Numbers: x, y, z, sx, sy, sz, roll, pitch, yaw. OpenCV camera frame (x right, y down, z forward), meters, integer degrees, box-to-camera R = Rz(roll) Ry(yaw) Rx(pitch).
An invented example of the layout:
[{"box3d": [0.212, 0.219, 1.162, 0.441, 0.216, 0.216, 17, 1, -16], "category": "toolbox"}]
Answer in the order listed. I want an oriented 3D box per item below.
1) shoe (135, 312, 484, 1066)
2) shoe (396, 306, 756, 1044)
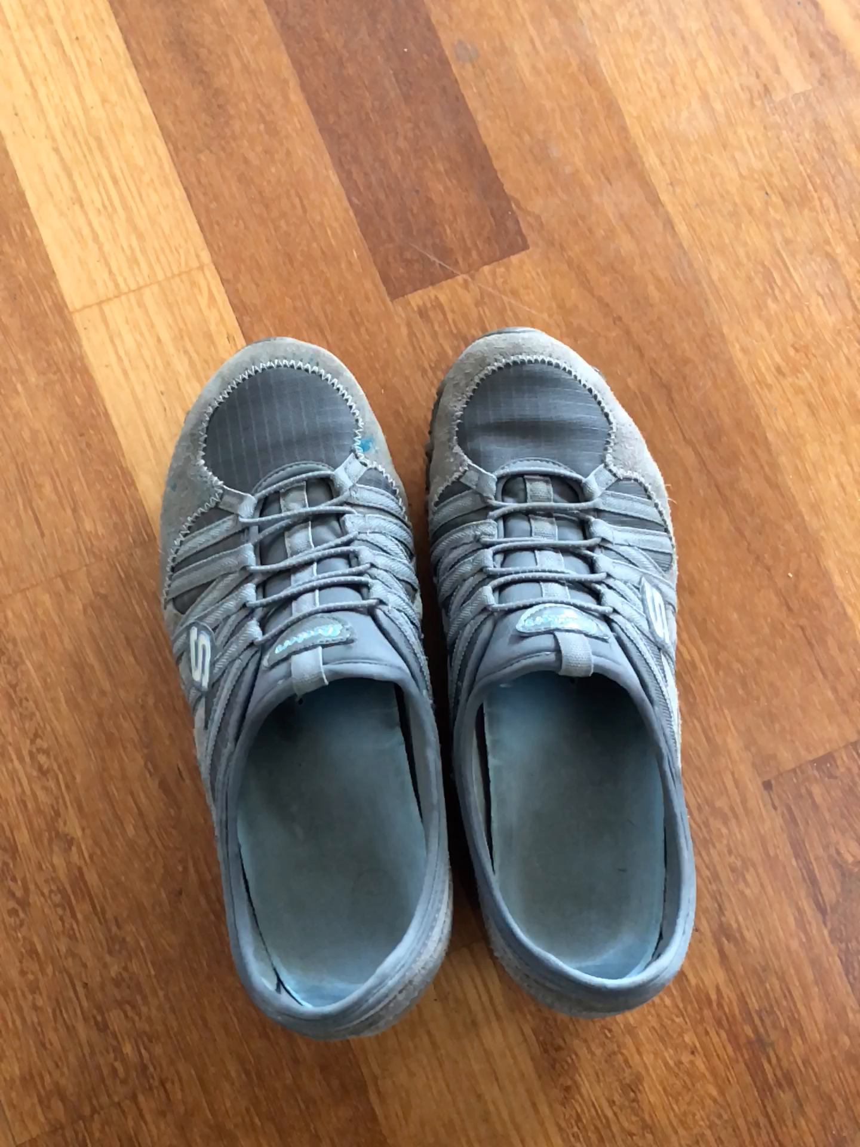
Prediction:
[{"box3d": [-0.047, 0.040, 0.385, 0.096, 0.106, 0.253, -6, 84, -4], "category": "shoe"}, {"box3d": [0.048, 0.035, 0.387, 0.093, 0.106, 0.249, -6, 84, -4], "category": "shoe"}]
